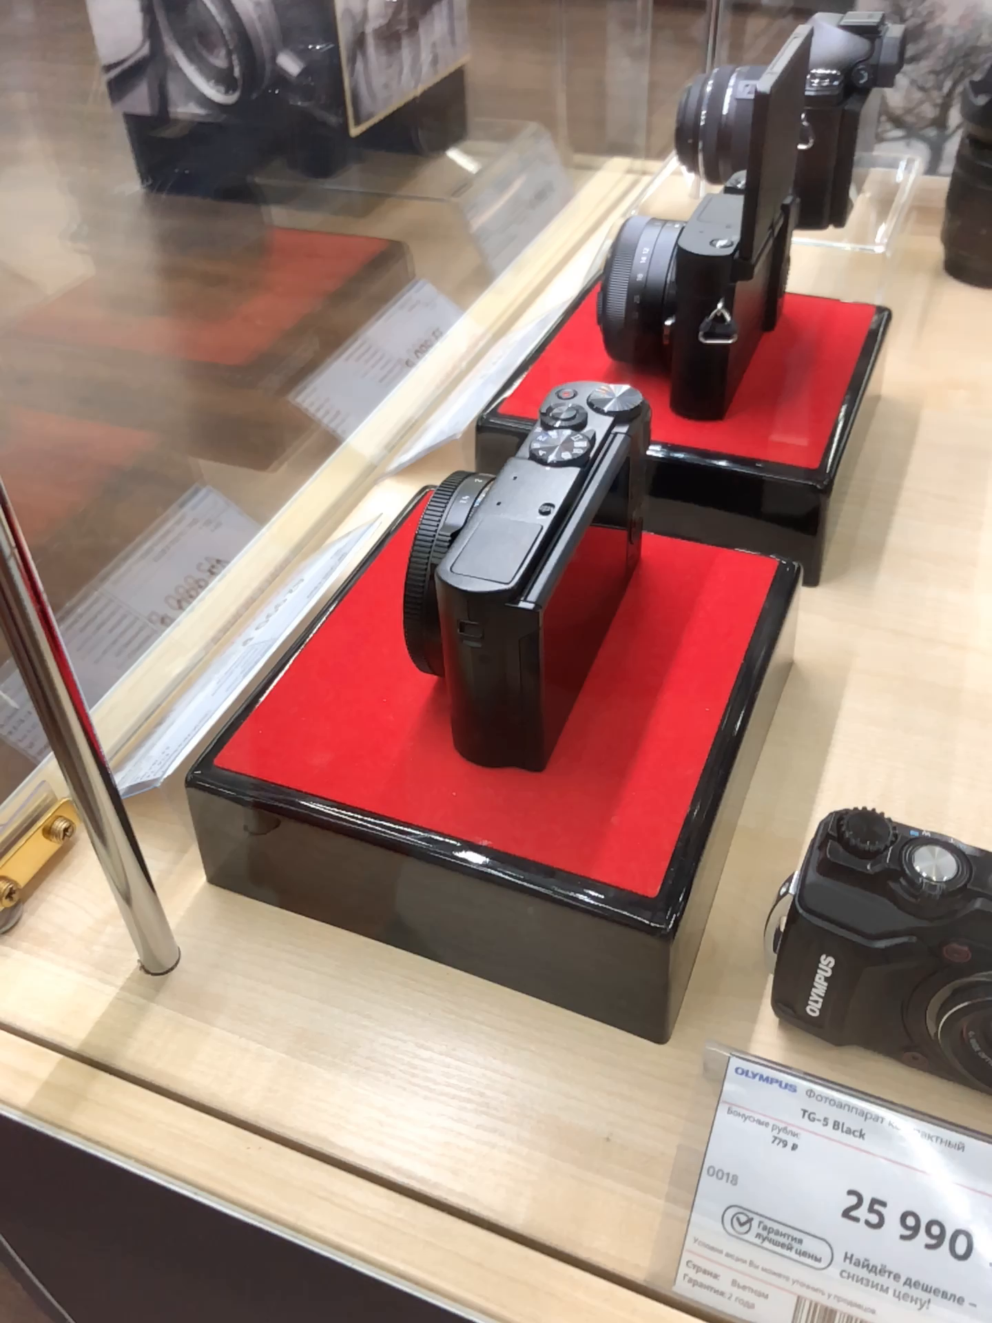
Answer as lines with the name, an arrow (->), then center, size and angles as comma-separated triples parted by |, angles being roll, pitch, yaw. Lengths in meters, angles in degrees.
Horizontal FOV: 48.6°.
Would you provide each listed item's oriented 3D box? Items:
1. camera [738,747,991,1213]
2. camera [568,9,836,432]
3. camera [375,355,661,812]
camera -> 0.117, 0.071, 0.249 | 0.110, 0.072, 0.033 | 15, 45, 19
camera -> 0.077, -0.168, 0.415 | 0.066, 0.112, 0.111 | 13, 44, 18
camera -> 0.011, -0.026, 0.306 | 0.040, 0.070, 0.111 | 12, 44, 16
